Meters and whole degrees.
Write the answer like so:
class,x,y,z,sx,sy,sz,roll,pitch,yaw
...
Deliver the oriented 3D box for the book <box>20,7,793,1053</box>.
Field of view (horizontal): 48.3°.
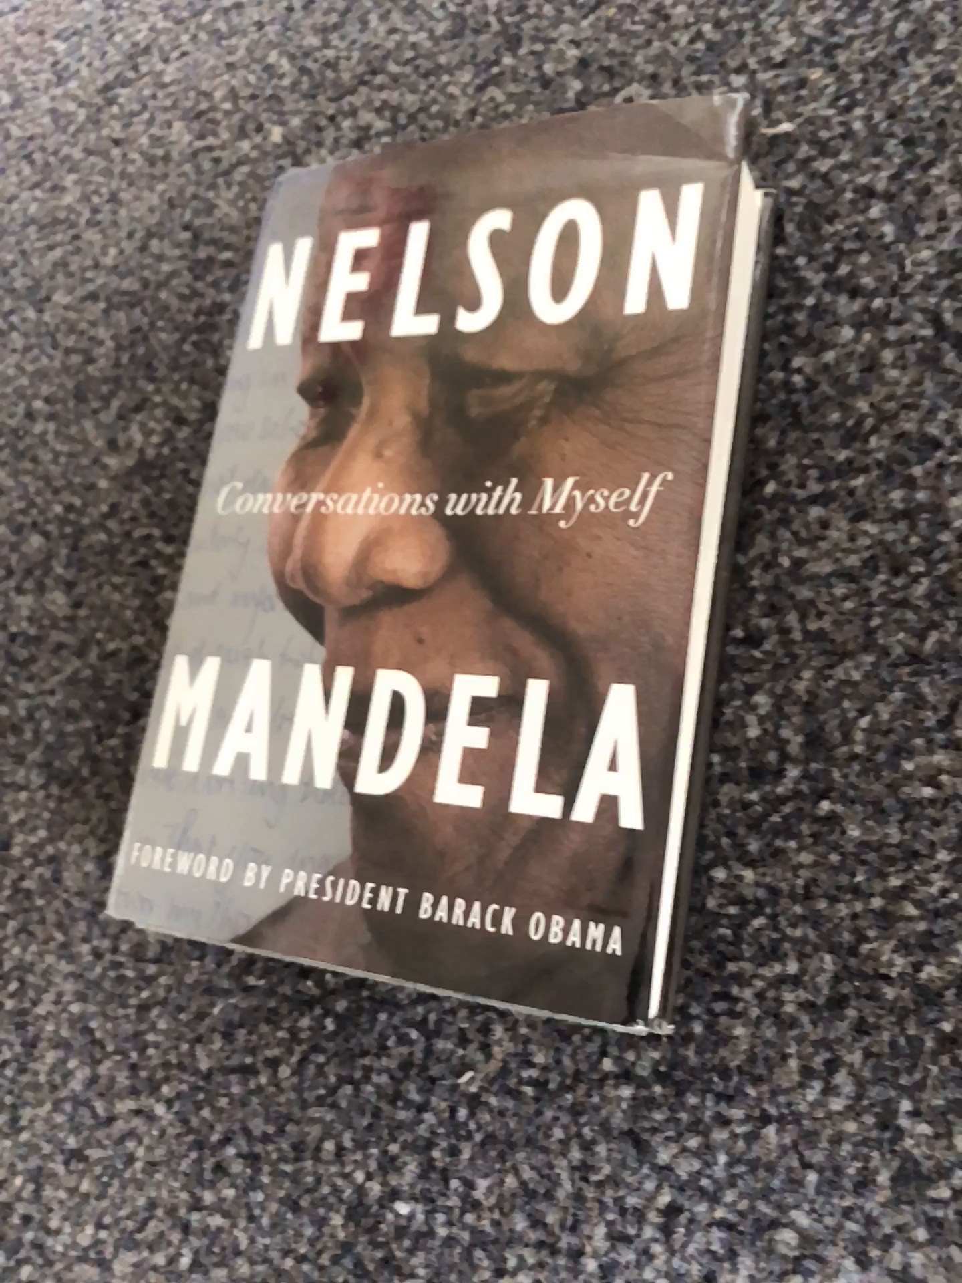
class,x,y,z,sx,sy,sz,roll,pitch,yaw
book,-0.017,-0.037,0.301,0.170,0.050,0.250,4,76,26
